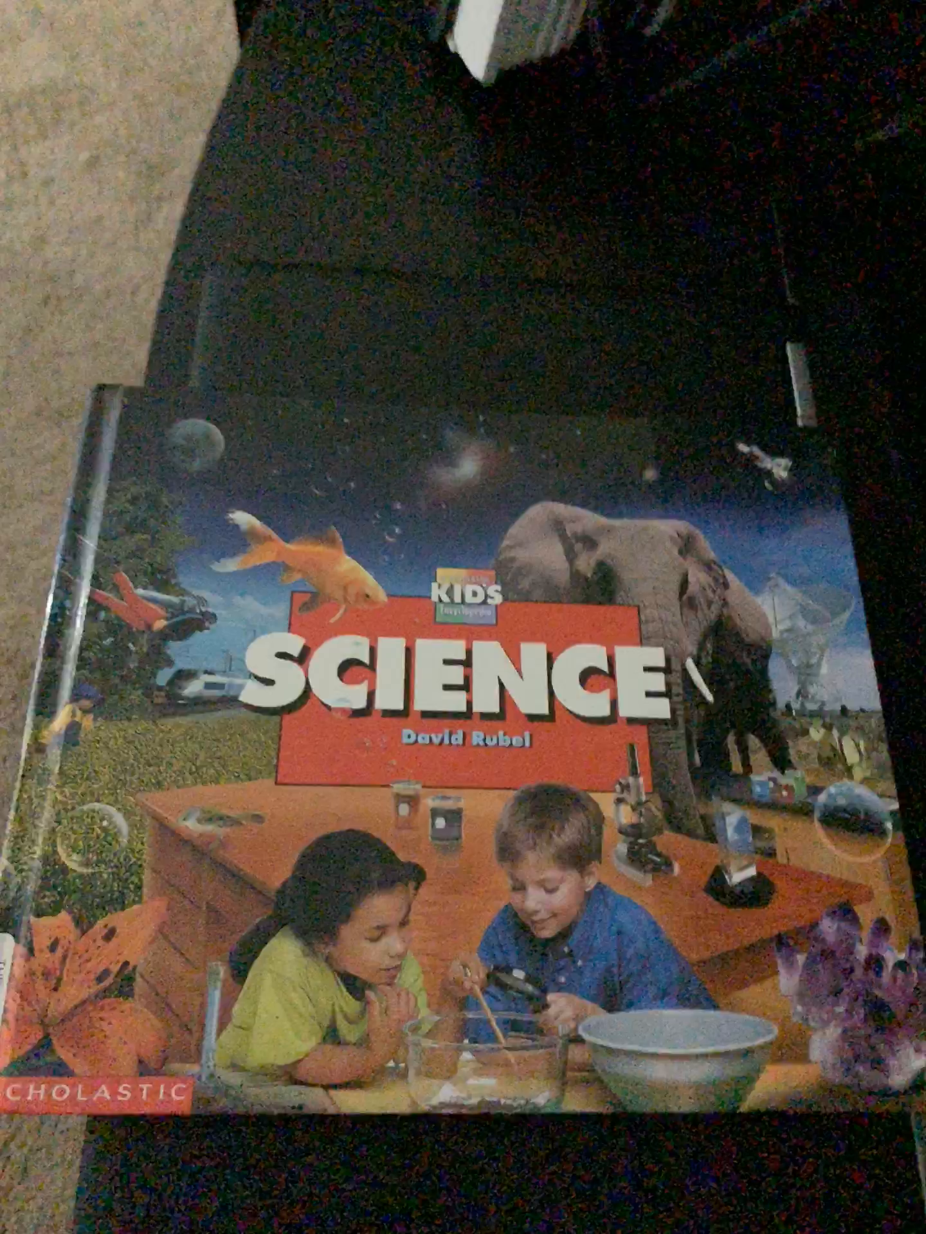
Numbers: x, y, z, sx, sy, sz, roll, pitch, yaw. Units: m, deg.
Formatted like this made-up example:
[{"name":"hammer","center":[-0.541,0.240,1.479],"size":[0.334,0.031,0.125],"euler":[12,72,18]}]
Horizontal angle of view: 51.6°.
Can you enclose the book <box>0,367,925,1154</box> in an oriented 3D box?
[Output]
[{"name":"book","center":[0.003,0.034,0.309],"size":[0.280,0.030,0.240],"euler":[2,67,-4]}]
